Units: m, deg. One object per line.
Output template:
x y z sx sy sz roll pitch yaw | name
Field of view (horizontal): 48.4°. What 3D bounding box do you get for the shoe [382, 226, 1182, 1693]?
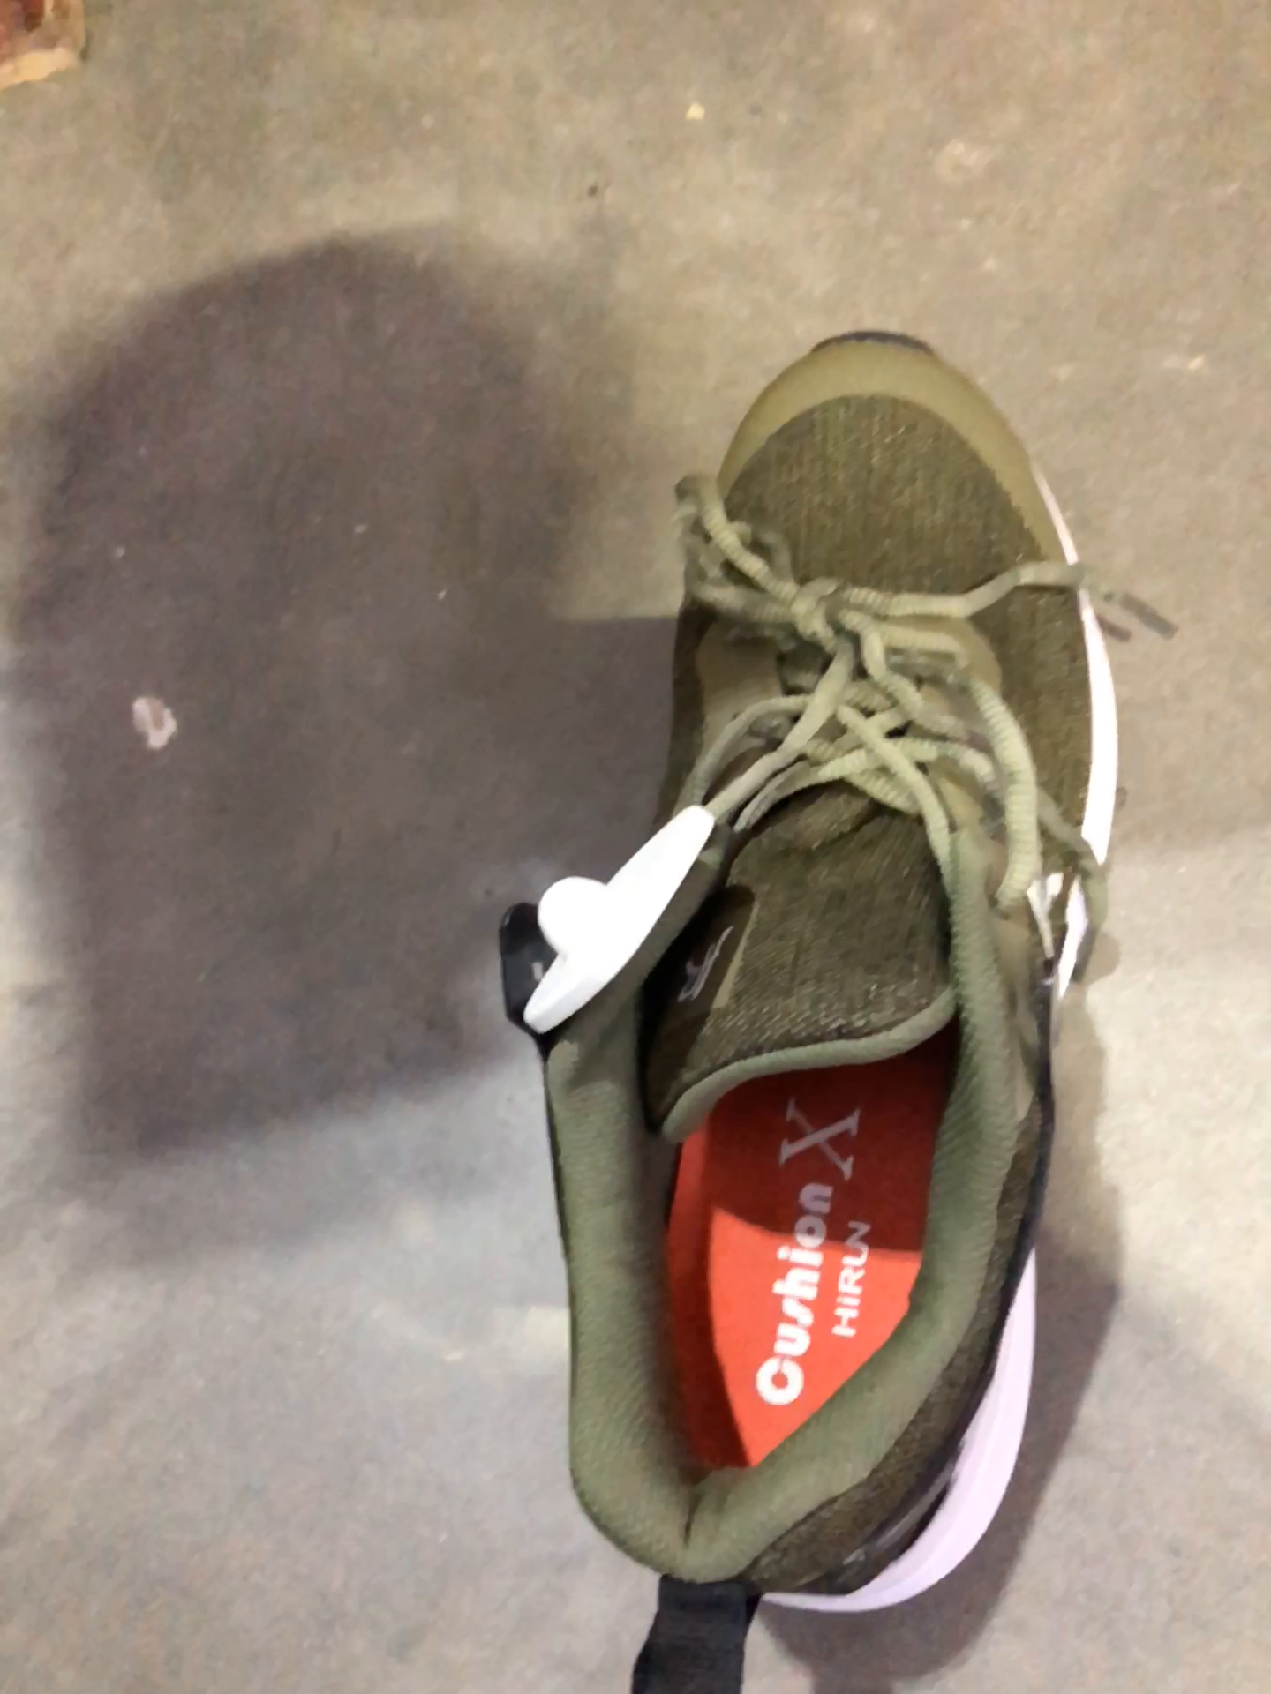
0.043 0.024 0.309 0.120 0.100 0.290 4 76 13 | shoe
